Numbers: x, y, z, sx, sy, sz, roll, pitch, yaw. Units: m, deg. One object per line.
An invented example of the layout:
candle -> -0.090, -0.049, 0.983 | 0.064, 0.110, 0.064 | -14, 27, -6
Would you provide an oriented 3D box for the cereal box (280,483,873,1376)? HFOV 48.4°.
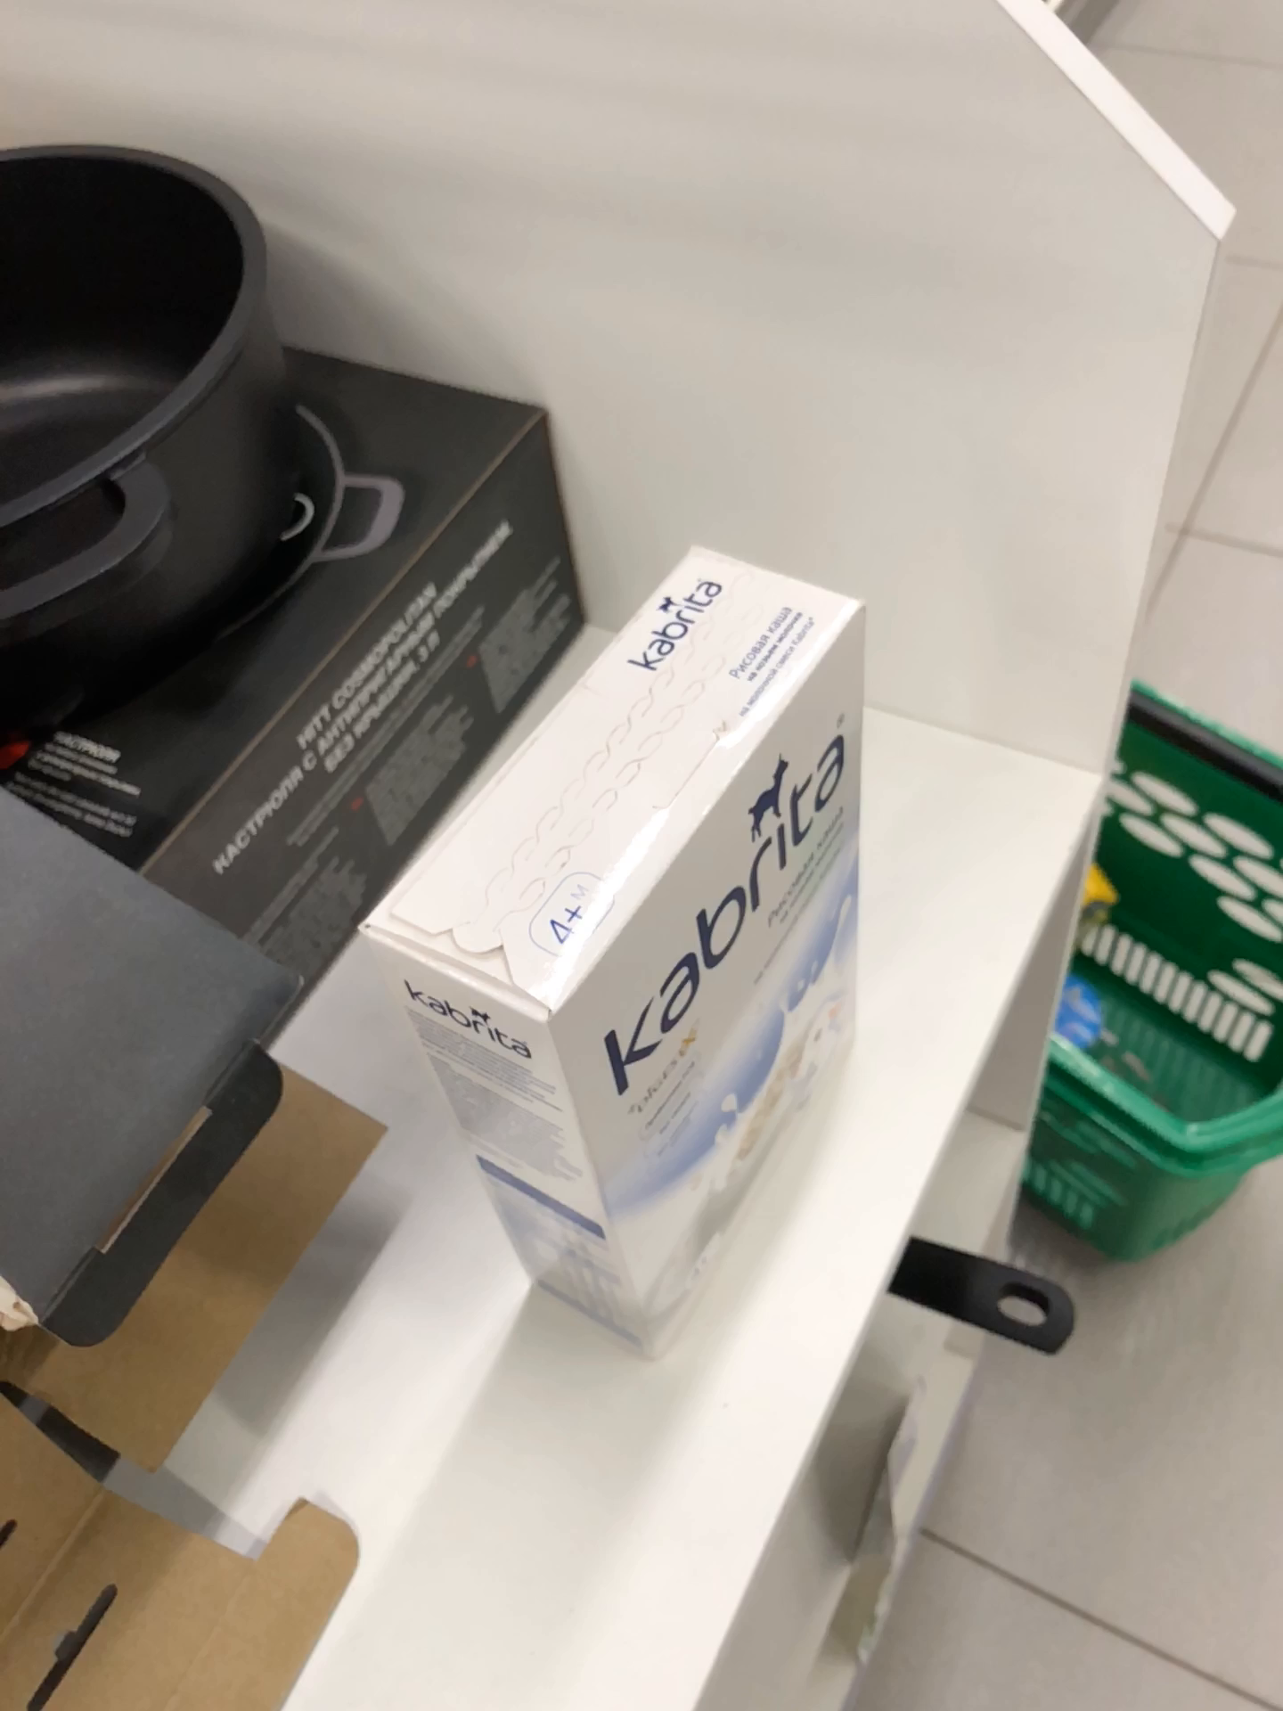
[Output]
cereal box -> 0.001, 0.032, 0.389 | 0.060, 0.209, 0.140 | 24, 59, 23
